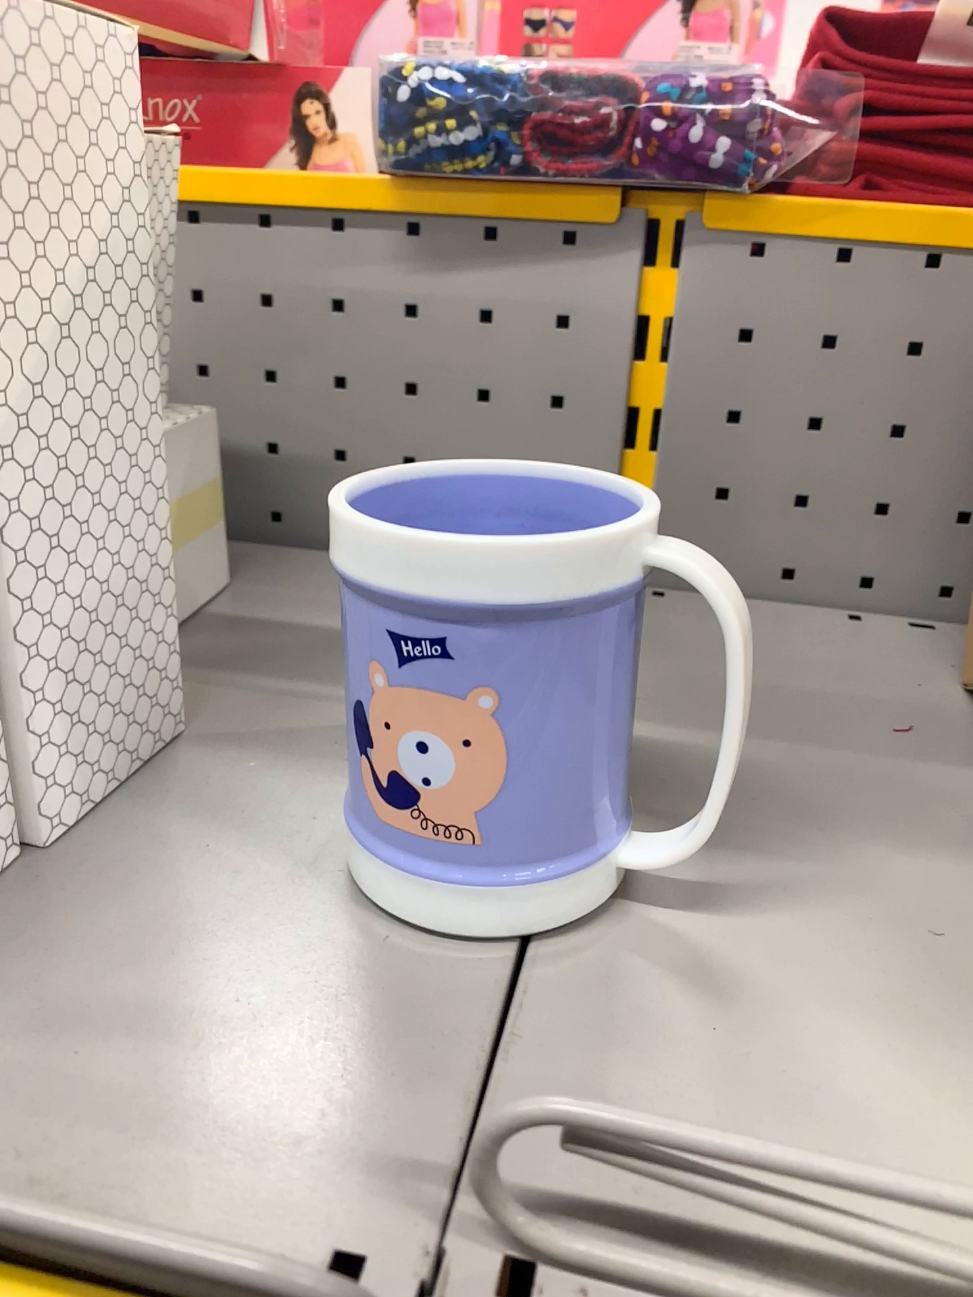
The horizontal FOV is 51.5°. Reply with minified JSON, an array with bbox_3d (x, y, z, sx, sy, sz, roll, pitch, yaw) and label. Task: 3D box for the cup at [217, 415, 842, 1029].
[{"bbox_3d":[0.014,0.006,0.248,0.120,0.100,0.090,11,24,17],"label":"cup"}]
